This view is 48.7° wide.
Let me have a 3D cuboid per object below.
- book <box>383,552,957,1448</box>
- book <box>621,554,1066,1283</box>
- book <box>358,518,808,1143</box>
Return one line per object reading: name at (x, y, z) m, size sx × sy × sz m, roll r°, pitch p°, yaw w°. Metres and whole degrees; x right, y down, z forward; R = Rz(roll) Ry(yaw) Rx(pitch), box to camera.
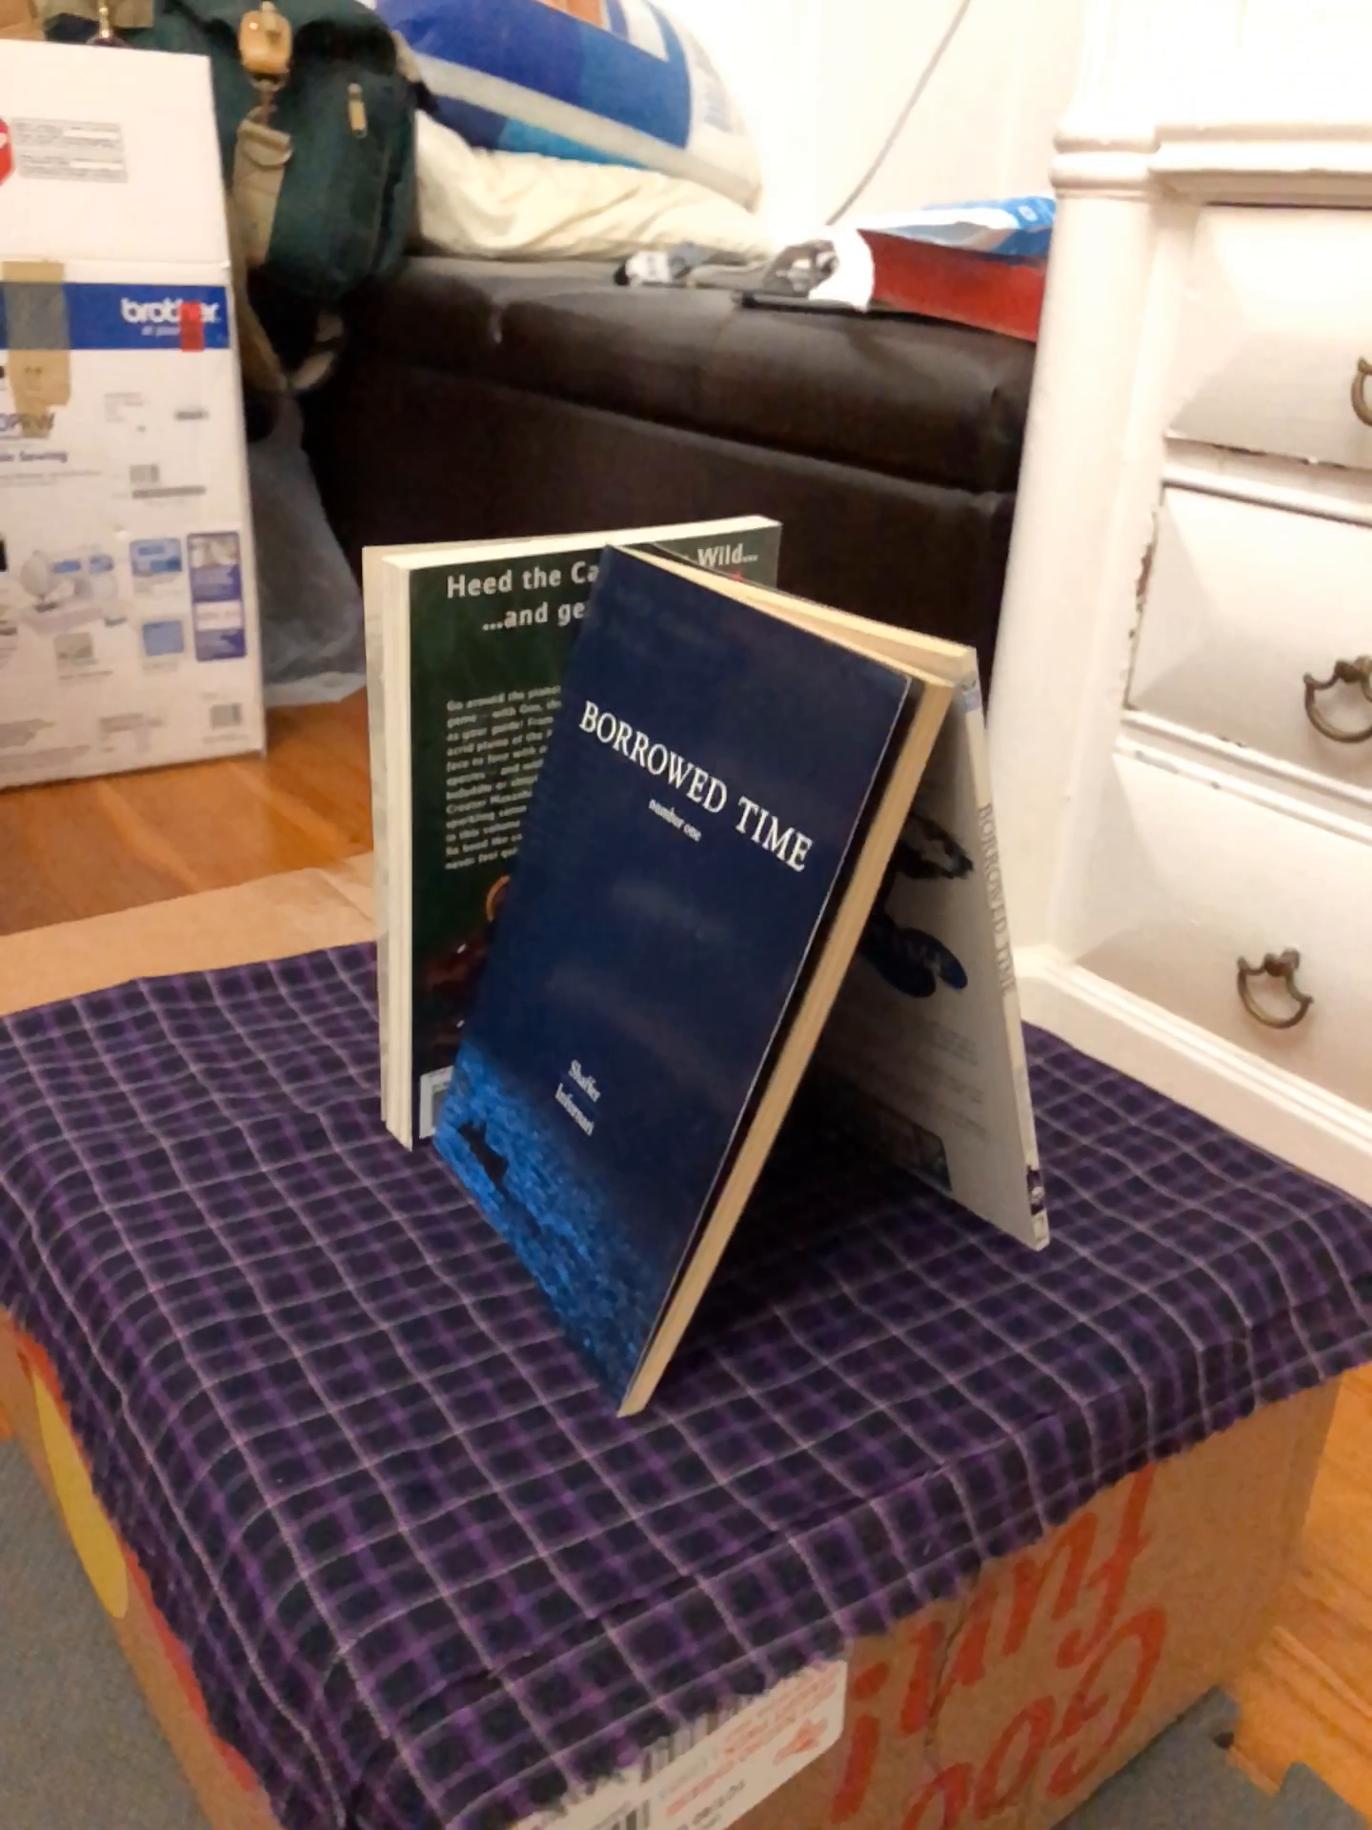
book at (-0.018, 0.013, 0.417) m, size 0.010 × 0.199 × 0.151 m, roll 12°, pitch 16°, yaw -39°
book at (0.047, 0.001, 0.447) m, size 0.010 × 0.199 × 0.140 m, roll -31°, pitch 36°, yaw -23°
book at (-0.035, -0.028, 0.490) m, size 0.140 × 0.189 × 0.020 m, roll -14°, pitch 36°, yaw -35°
